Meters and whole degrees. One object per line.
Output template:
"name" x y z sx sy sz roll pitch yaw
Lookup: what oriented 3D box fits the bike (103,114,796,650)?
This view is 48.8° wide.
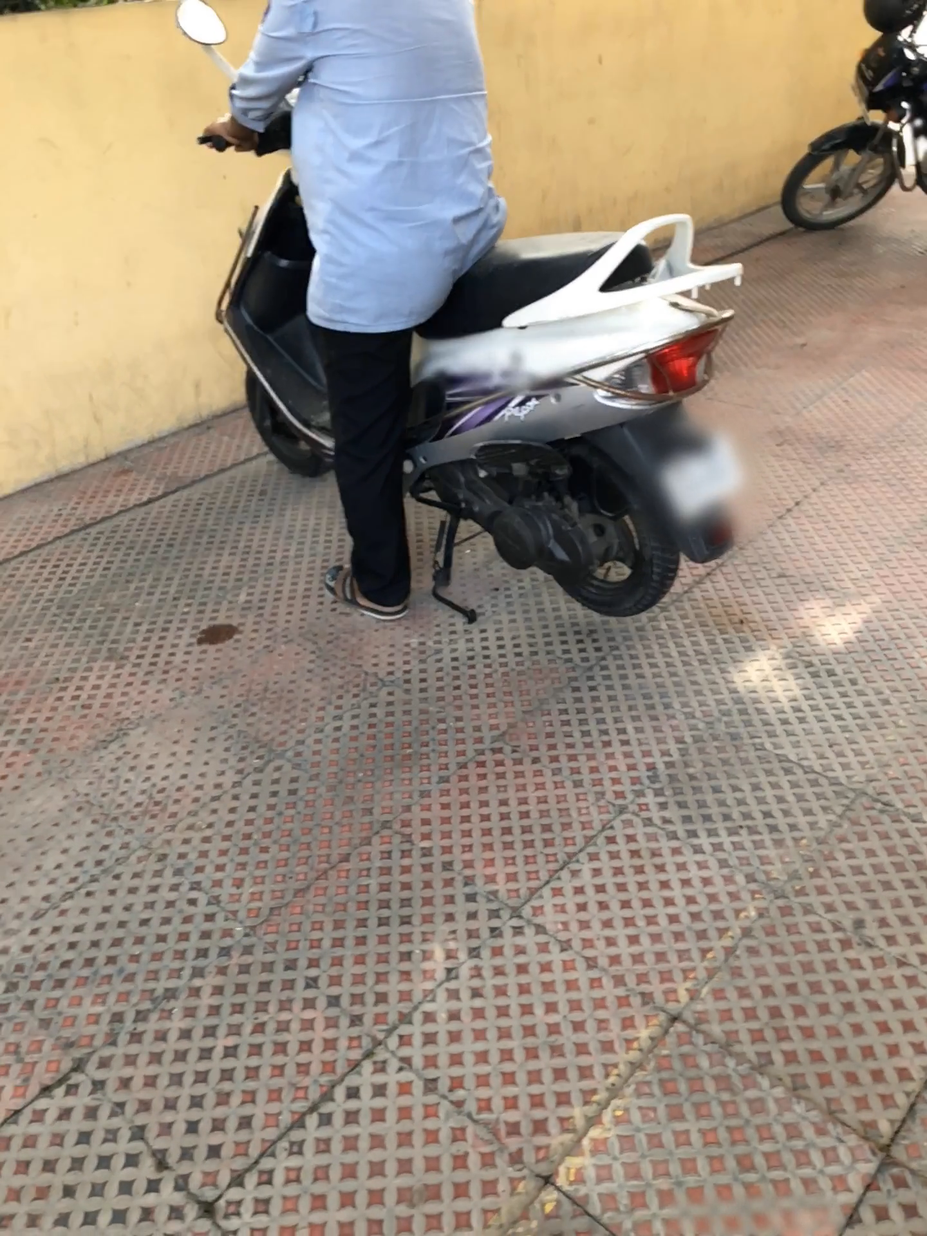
"bike" -0.136 -0.685 2.430 0.601 0.816 1.611 -28 39 -32
